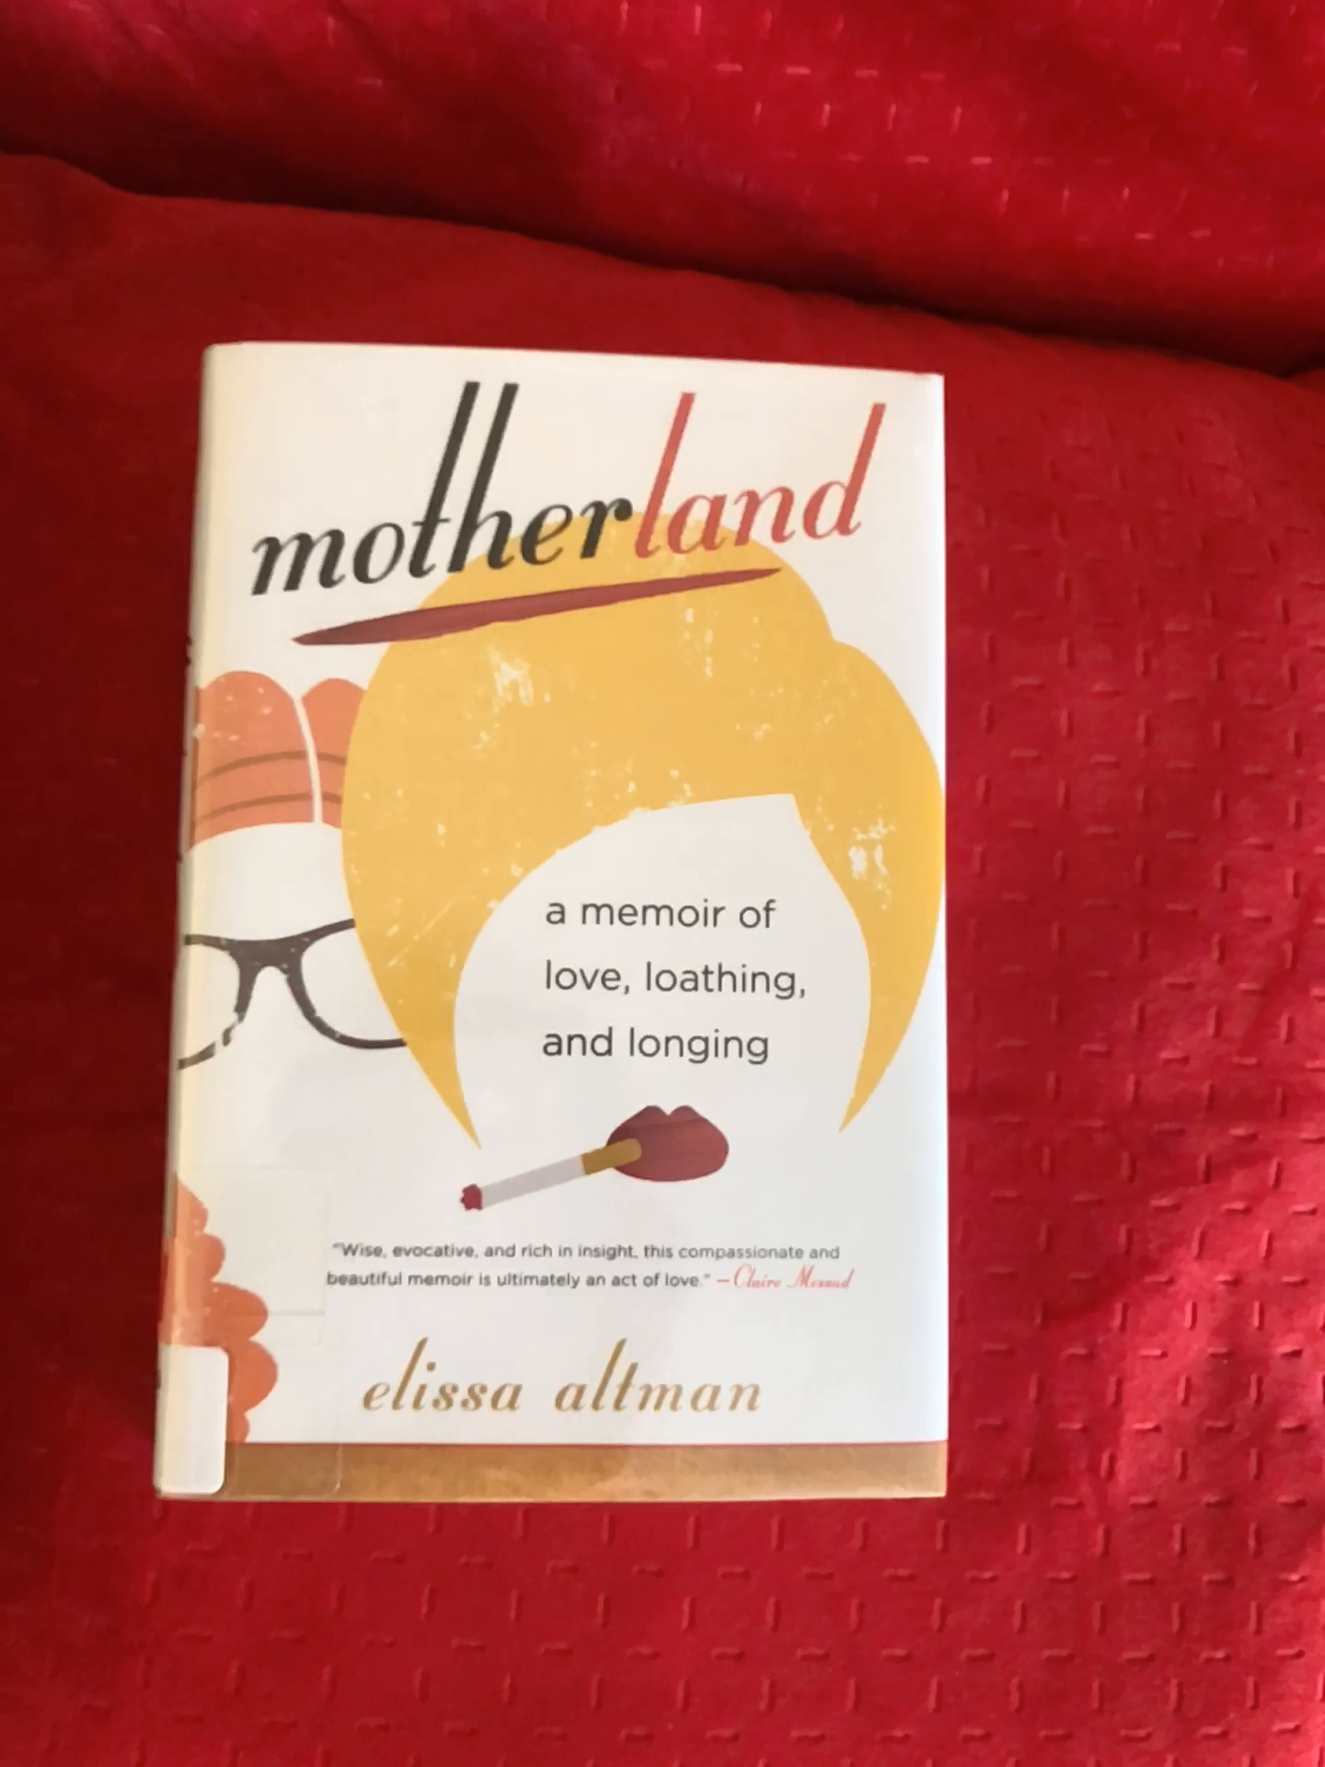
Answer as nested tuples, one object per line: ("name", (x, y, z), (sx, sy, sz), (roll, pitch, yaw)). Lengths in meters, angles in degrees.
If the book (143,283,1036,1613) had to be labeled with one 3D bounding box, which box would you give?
("book", (-0.010, 0.010, 0.260), (0.140, 0.040, 0.210), (1, 85, -6))
